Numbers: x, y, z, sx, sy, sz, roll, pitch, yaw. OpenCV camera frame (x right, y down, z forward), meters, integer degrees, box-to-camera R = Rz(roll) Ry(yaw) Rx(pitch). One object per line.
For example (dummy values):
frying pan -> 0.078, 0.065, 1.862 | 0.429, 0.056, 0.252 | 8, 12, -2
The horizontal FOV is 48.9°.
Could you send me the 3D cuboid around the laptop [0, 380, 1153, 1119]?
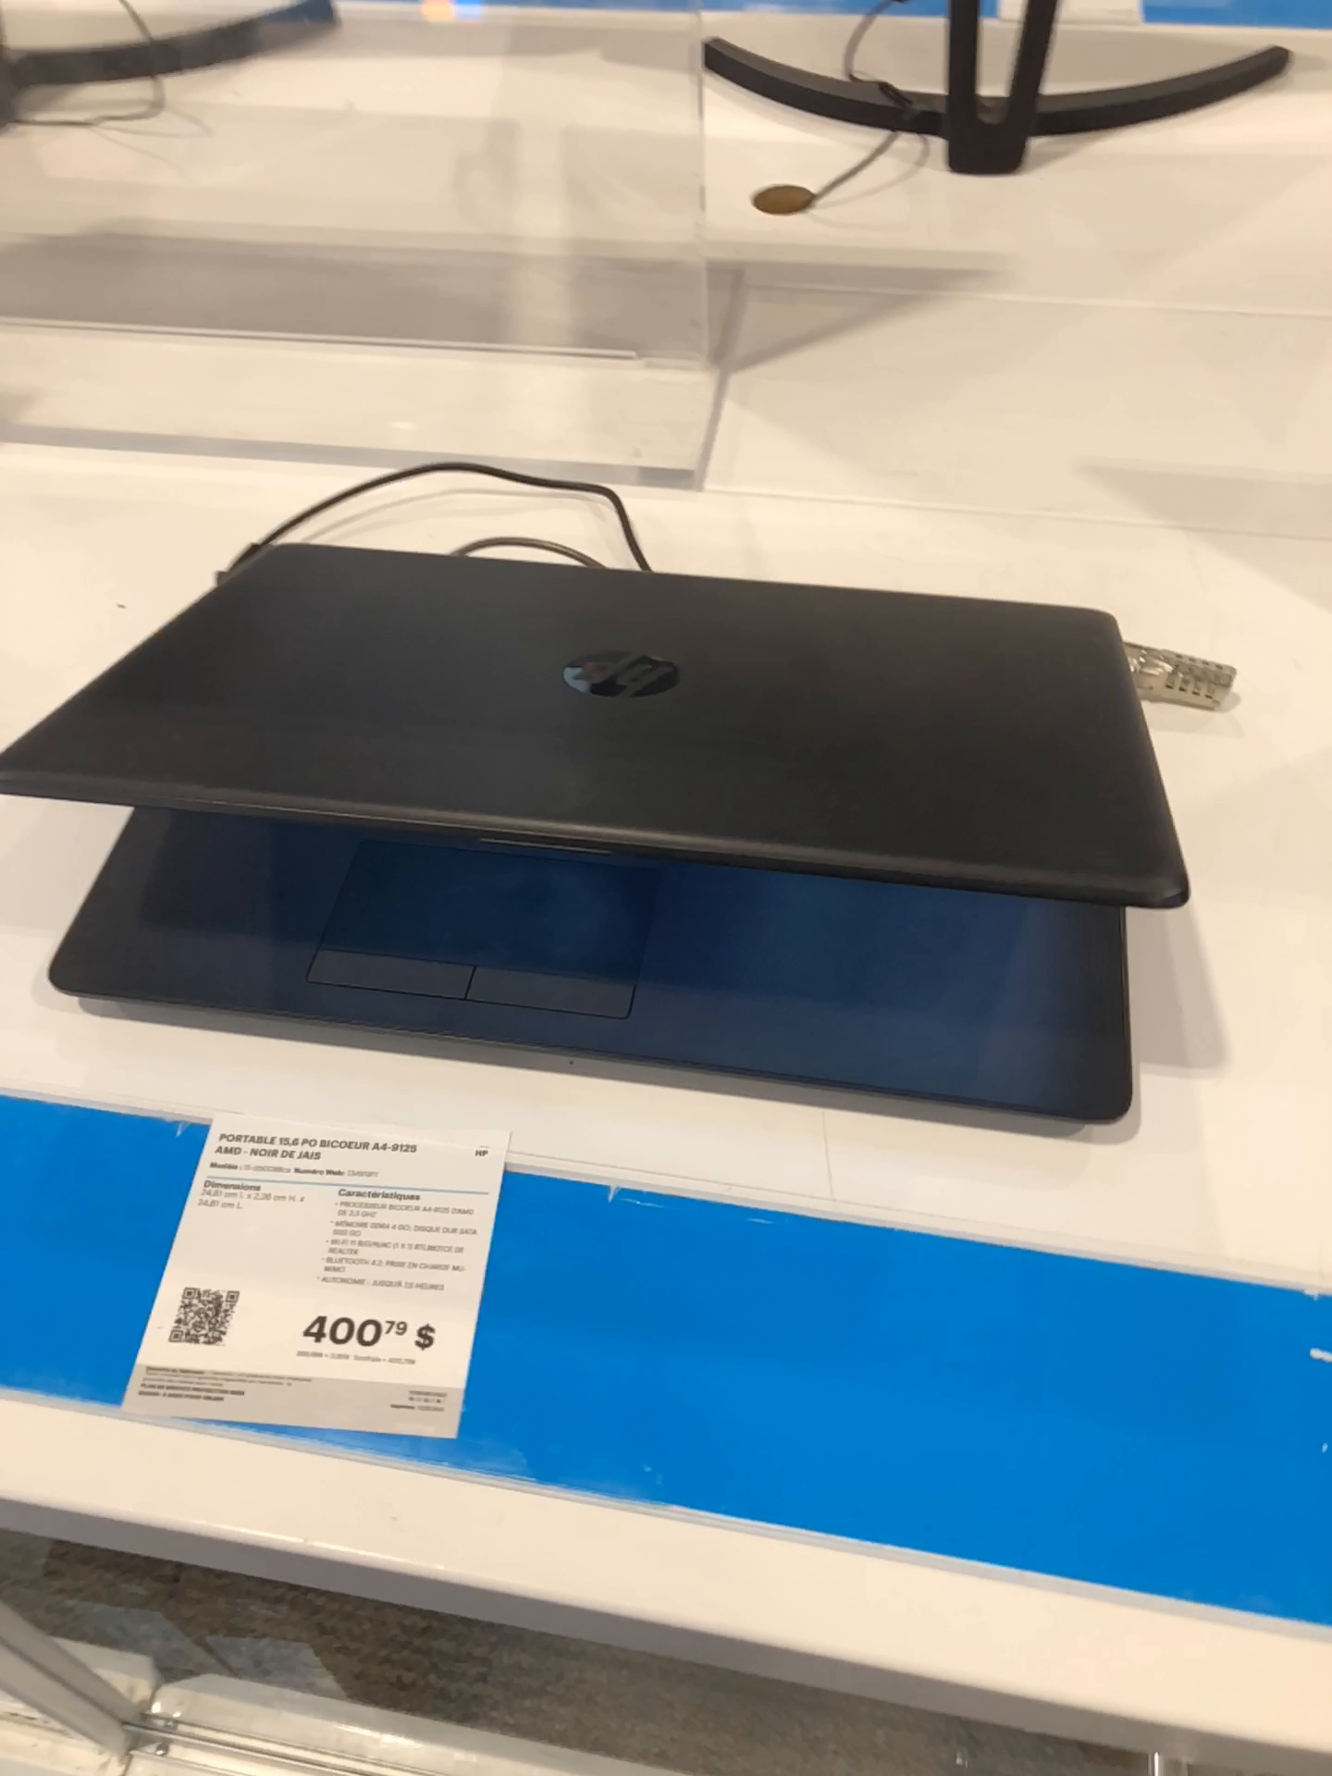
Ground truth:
laptop -> -0.026, -0.062, 0.526 | 0.366, 0.092, 0.235 | 7, 50, 4
